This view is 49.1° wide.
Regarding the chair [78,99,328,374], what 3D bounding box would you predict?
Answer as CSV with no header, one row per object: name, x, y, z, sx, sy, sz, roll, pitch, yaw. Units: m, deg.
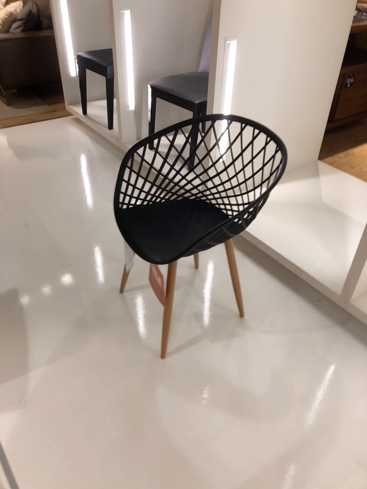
chair,0.027,-0.075,1.556,0.601,0.704,0.623,-18,41,-25
